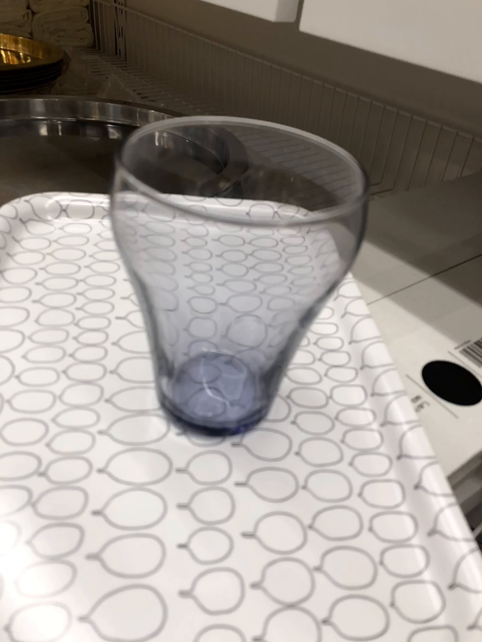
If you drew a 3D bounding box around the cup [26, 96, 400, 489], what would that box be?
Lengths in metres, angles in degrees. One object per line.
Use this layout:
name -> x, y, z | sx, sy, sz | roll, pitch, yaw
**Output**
cup -> -0.005, -0.018, 0.179 | 0.080, 0.080, 0.090 | 20, 37, 14
